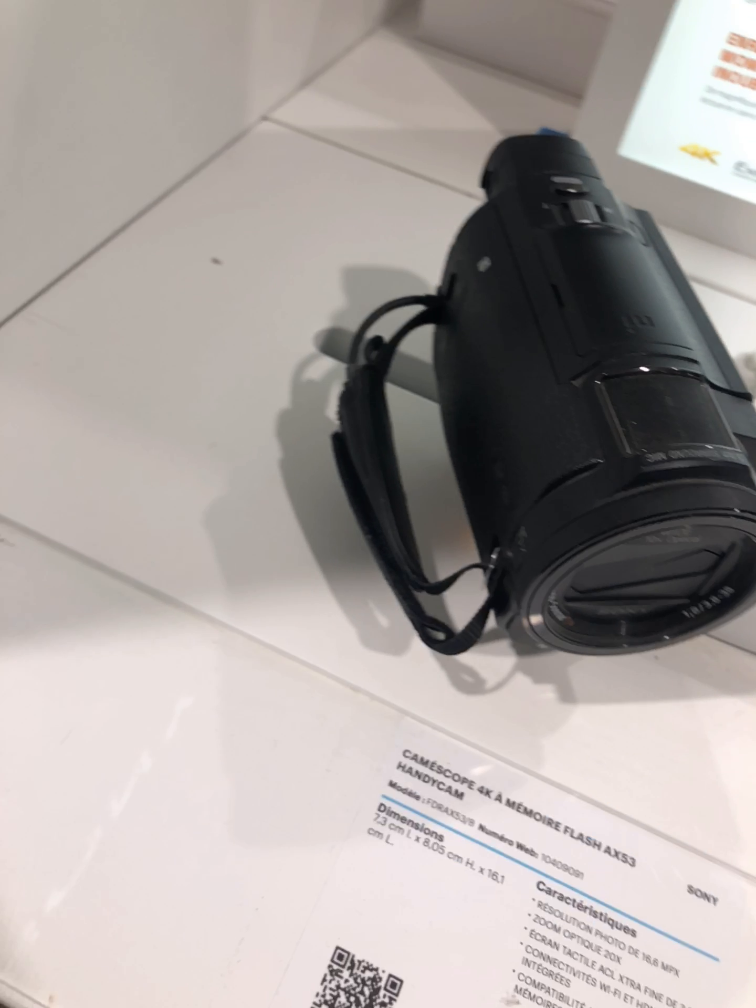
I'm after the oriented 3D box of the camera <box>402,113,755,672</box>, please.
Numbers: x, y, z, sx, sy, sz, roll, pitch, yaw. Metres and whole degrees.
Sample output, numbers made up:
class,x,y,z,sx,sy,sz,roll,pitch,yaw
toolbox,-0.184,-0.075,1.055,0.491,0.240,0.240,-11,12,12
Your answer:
class,x,y,z,sx,sy,sz,roll,pitch,yaw
camera,0.061,-0.038,0.240,0.073,0.070,0.149,-1,50,-12
